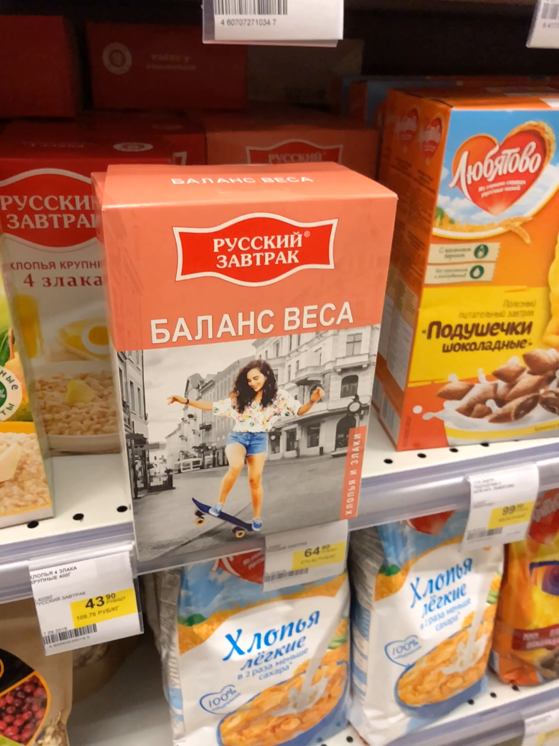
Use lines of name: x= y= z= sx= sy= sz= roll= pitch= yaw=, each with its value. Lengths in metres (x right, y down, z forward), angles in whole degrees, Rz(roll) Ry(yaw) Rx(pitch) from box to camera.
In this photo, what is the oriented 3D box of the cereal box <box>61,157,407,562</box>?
cereal box: x=-0.025 y=-0.009 z=0.319 sx=0.140 sy=0.179 sz=0.070 roll=-8 pitch=31 yaw=-17
